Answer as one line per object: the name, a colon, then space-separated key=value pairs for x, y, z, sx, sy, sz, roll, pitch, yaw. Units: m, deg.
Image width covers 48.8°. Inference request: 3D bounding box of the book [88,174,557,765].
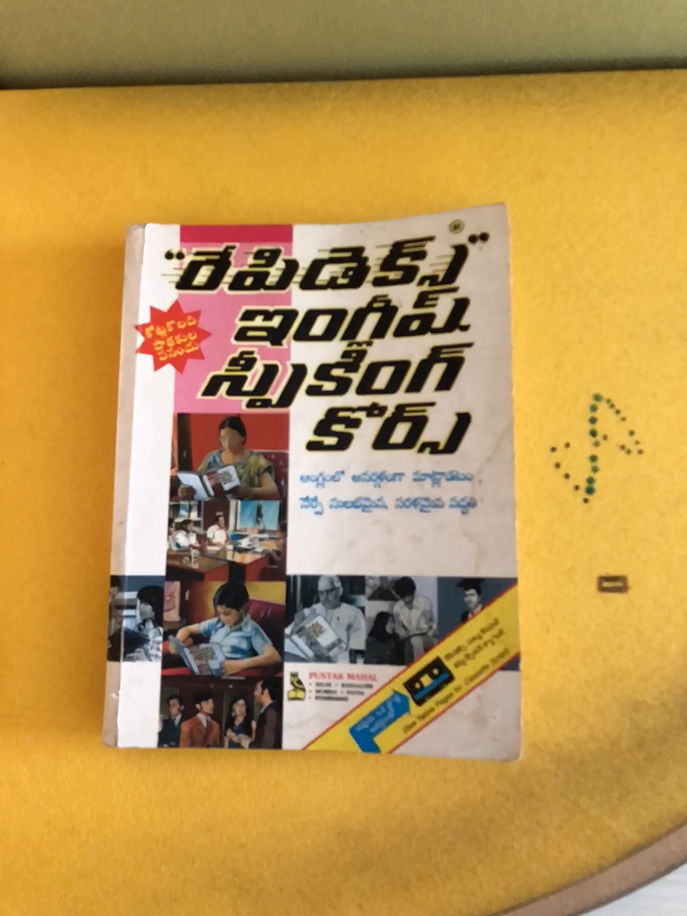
book: x=-0.010 y=0.001 z=0.339 sx=0.190 sy=0.030 sz=0.250 roll=-1 pitch=81 yaw=4
